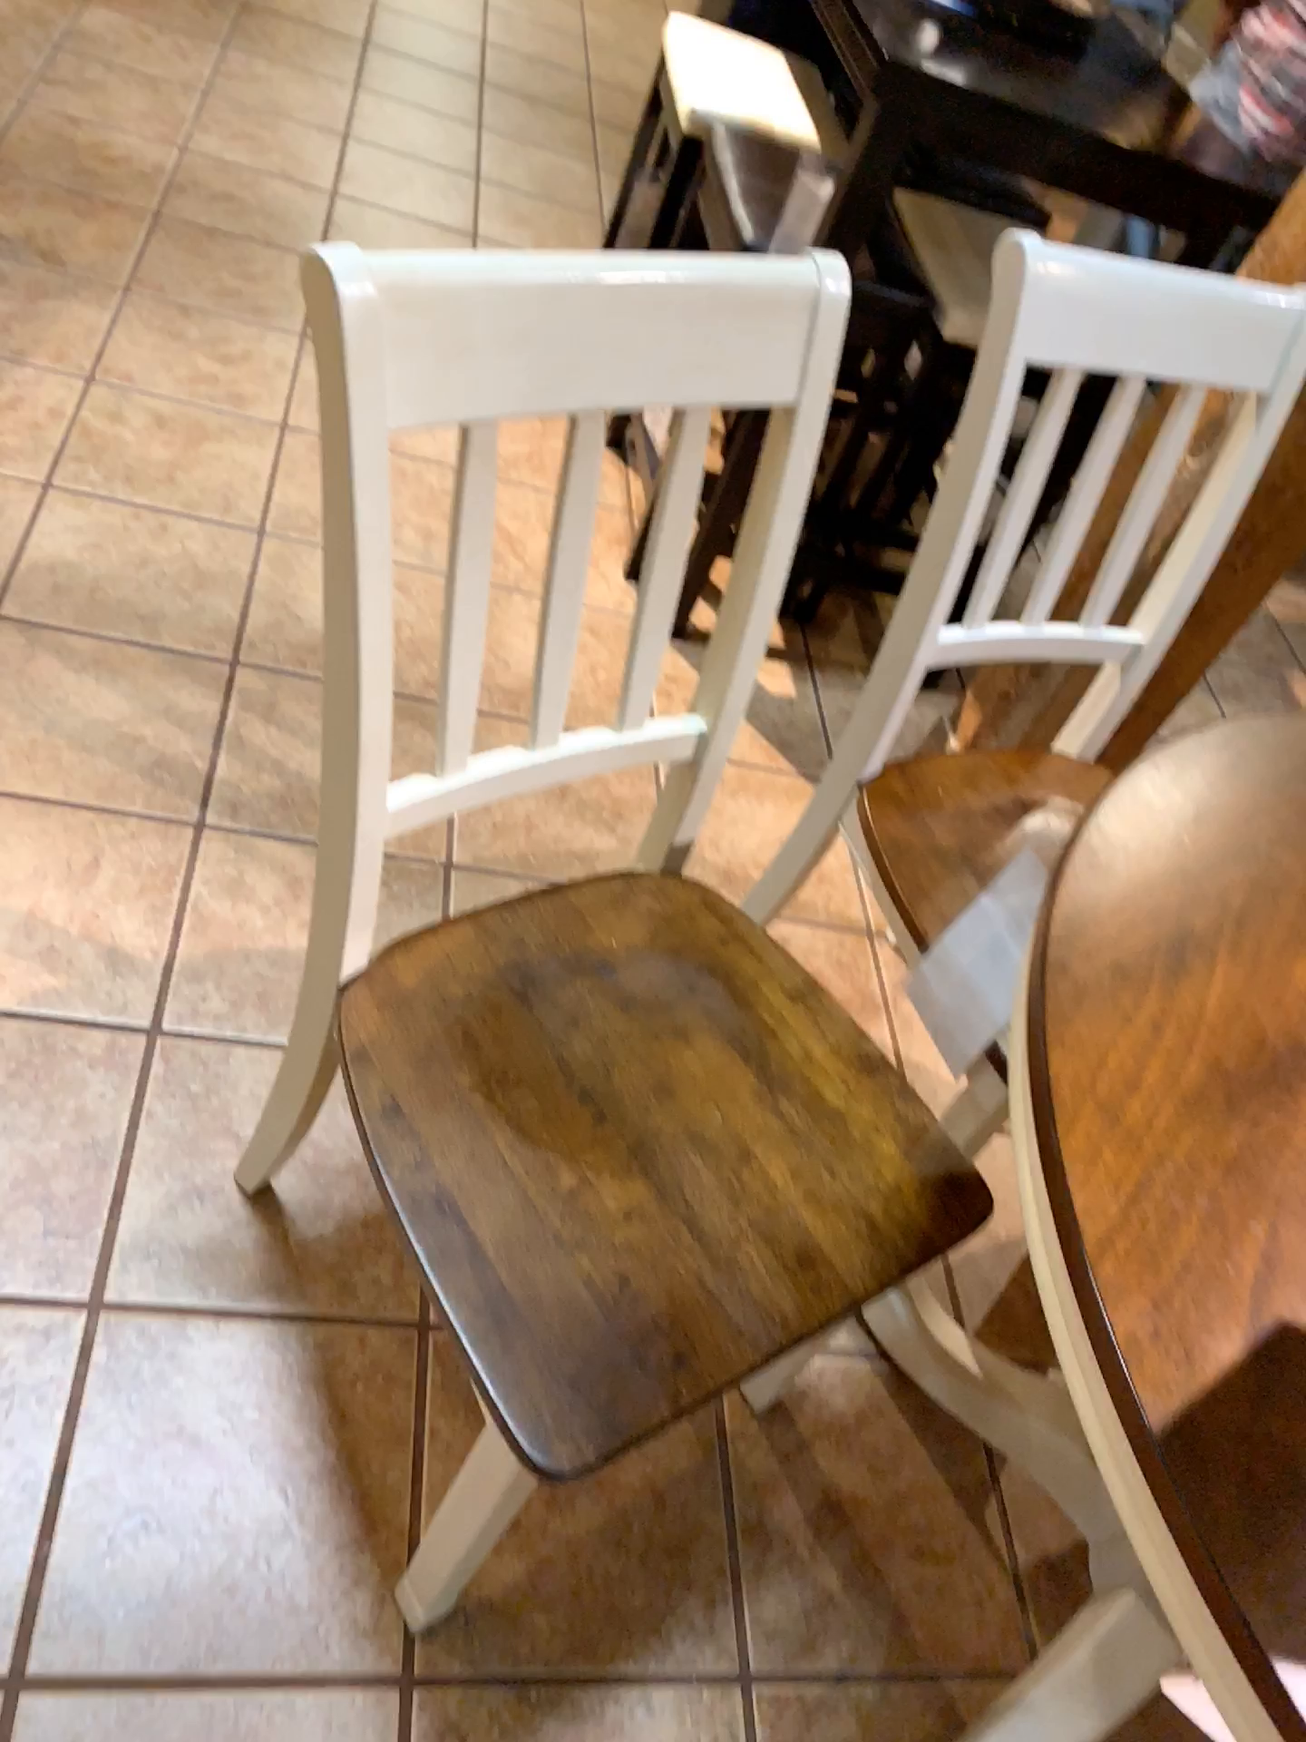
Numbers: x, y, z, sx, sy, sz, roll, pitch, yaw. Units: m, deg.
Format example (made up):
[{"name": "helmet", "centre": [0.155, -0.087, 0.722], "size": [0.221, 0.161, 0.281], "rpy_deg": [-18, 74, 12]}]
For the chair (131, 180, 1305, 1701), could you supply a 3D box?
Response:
[{"name": "chair", "centre": [-0.026, 0.088, 1.032], "size": [0.492, 0.891, 0.633], "rpy_deg": [-16, 58, -34]}]

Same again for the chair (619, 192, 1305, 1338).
[{"name": "chair", "centre": [0.432, -0.063, 1.380], "size": [0.491, 0.901, 0.634], "rpy_deg": [-7, 53, -29]}]
